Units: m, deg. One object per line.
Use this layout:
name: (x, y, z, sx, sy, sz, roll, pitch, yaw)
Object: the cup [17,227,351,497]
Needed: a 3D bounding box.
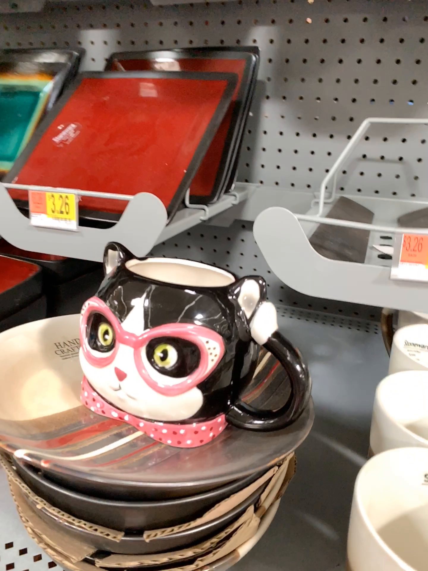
cup: (-0.014, 0.025, 0.242, 0.144, 0.074, 0.096, 13, 24, 25)
